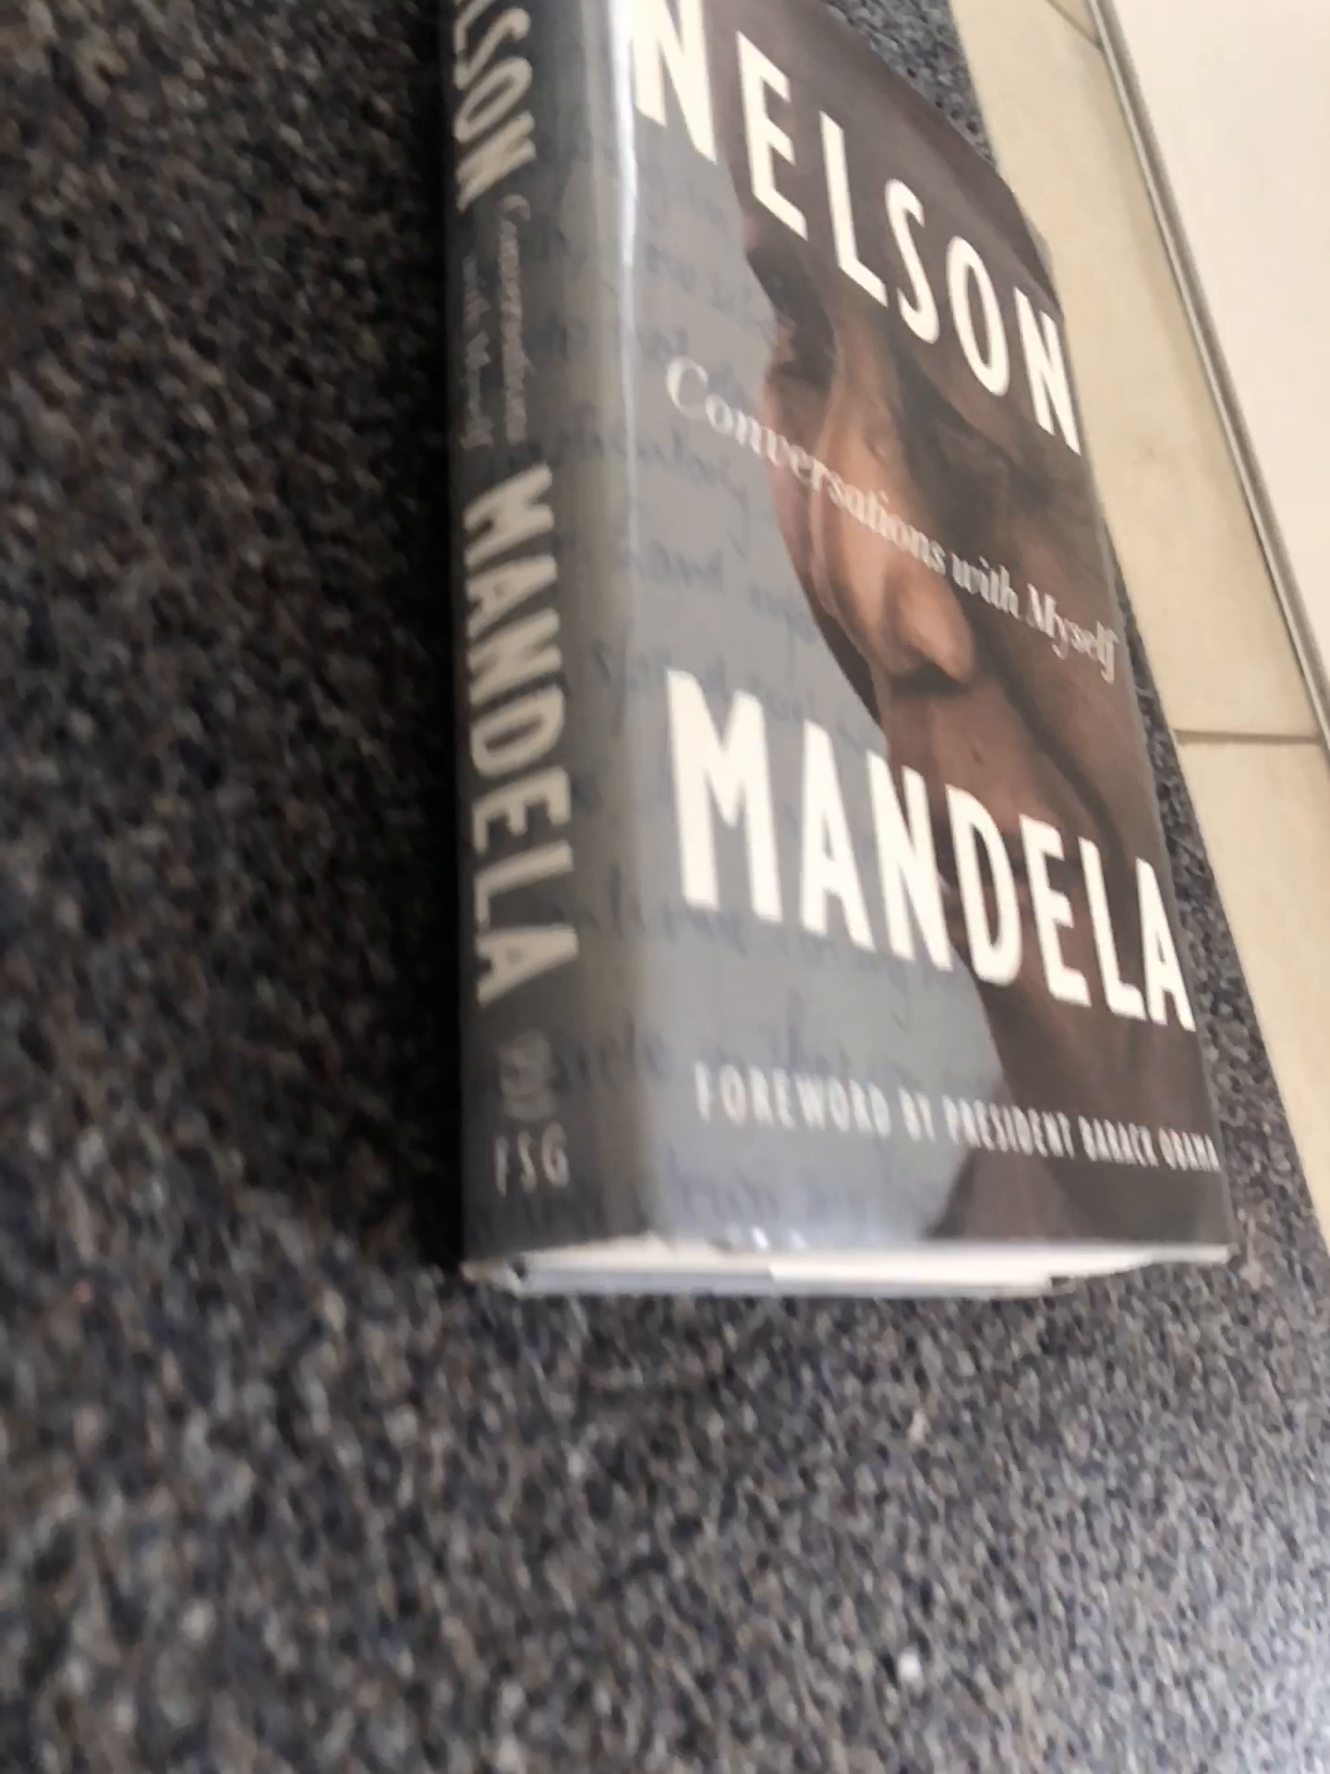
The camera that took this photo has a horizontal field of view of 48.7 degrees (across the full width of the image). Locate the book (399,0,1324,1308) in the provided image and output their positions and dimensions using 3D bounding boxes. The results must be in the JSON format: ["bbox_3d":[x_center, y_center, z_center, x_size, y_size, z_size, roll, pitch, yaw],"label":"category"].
[{"bbox_3d":[0.037,-0.057,0.264,0.171,0.050,0.250,17,61,-46],"label":"book"}]
